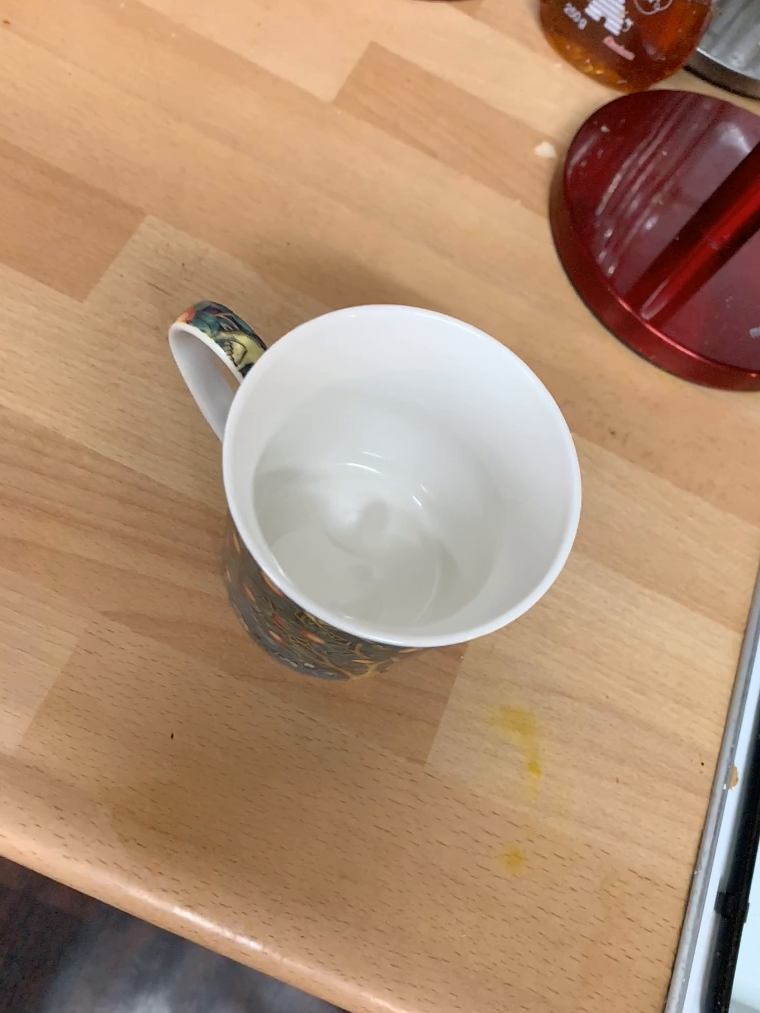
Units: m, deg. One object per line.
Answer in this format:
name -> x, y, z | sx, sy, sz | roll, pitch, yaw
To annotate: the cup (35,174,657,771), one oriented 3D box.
cup -> -0.013, -0.002, 0.227 | 0.120, 0.090, 0.090 | 43, 66, 3
